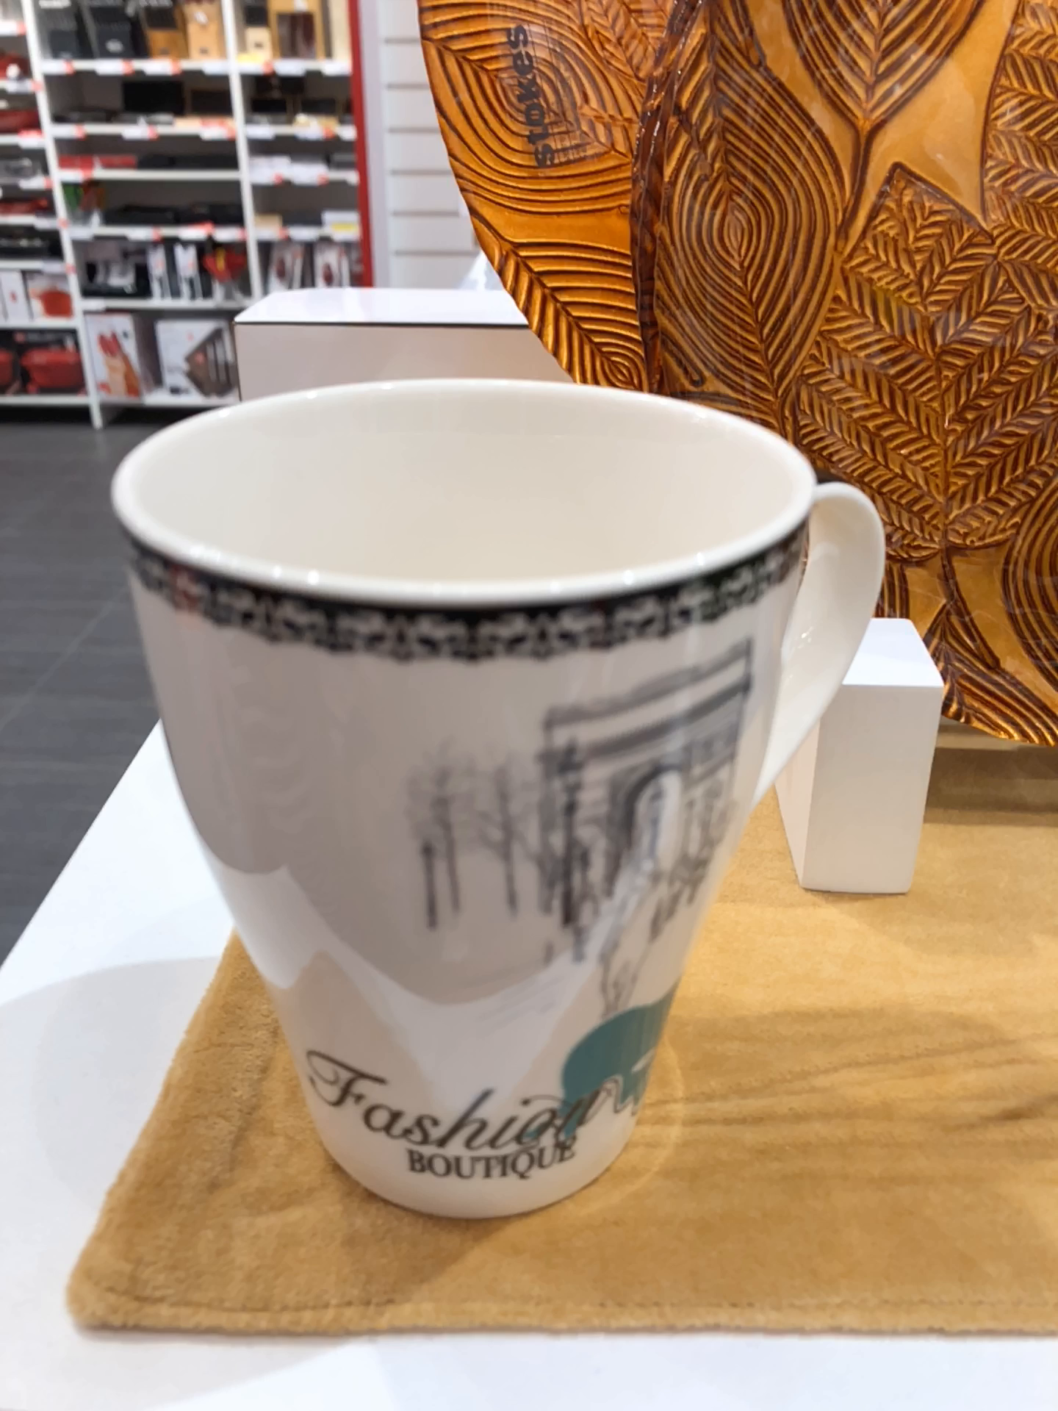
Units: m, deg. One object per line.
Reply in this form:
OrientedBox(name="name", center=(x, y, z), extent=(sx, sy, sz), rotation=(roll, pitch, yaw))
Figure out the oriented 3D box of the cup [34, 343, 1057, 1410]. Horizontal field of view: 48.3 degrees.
OrientedBox(name="cup", center=(0.004, 0.011, 0.172), extent=(0.110, 0.100, 0.080), rotation=(-16, 32, -28))
